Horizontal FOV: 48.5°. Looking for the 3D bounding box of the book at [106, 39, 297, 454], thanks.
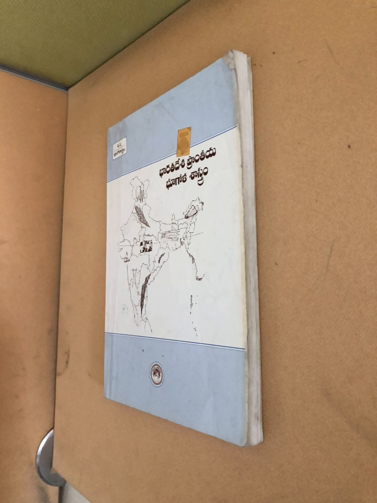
[{"bbox_3d":[-0.005,-0.001,0.328,0.181,0.030,0.250,-8,80,49],"label":"book"}]
